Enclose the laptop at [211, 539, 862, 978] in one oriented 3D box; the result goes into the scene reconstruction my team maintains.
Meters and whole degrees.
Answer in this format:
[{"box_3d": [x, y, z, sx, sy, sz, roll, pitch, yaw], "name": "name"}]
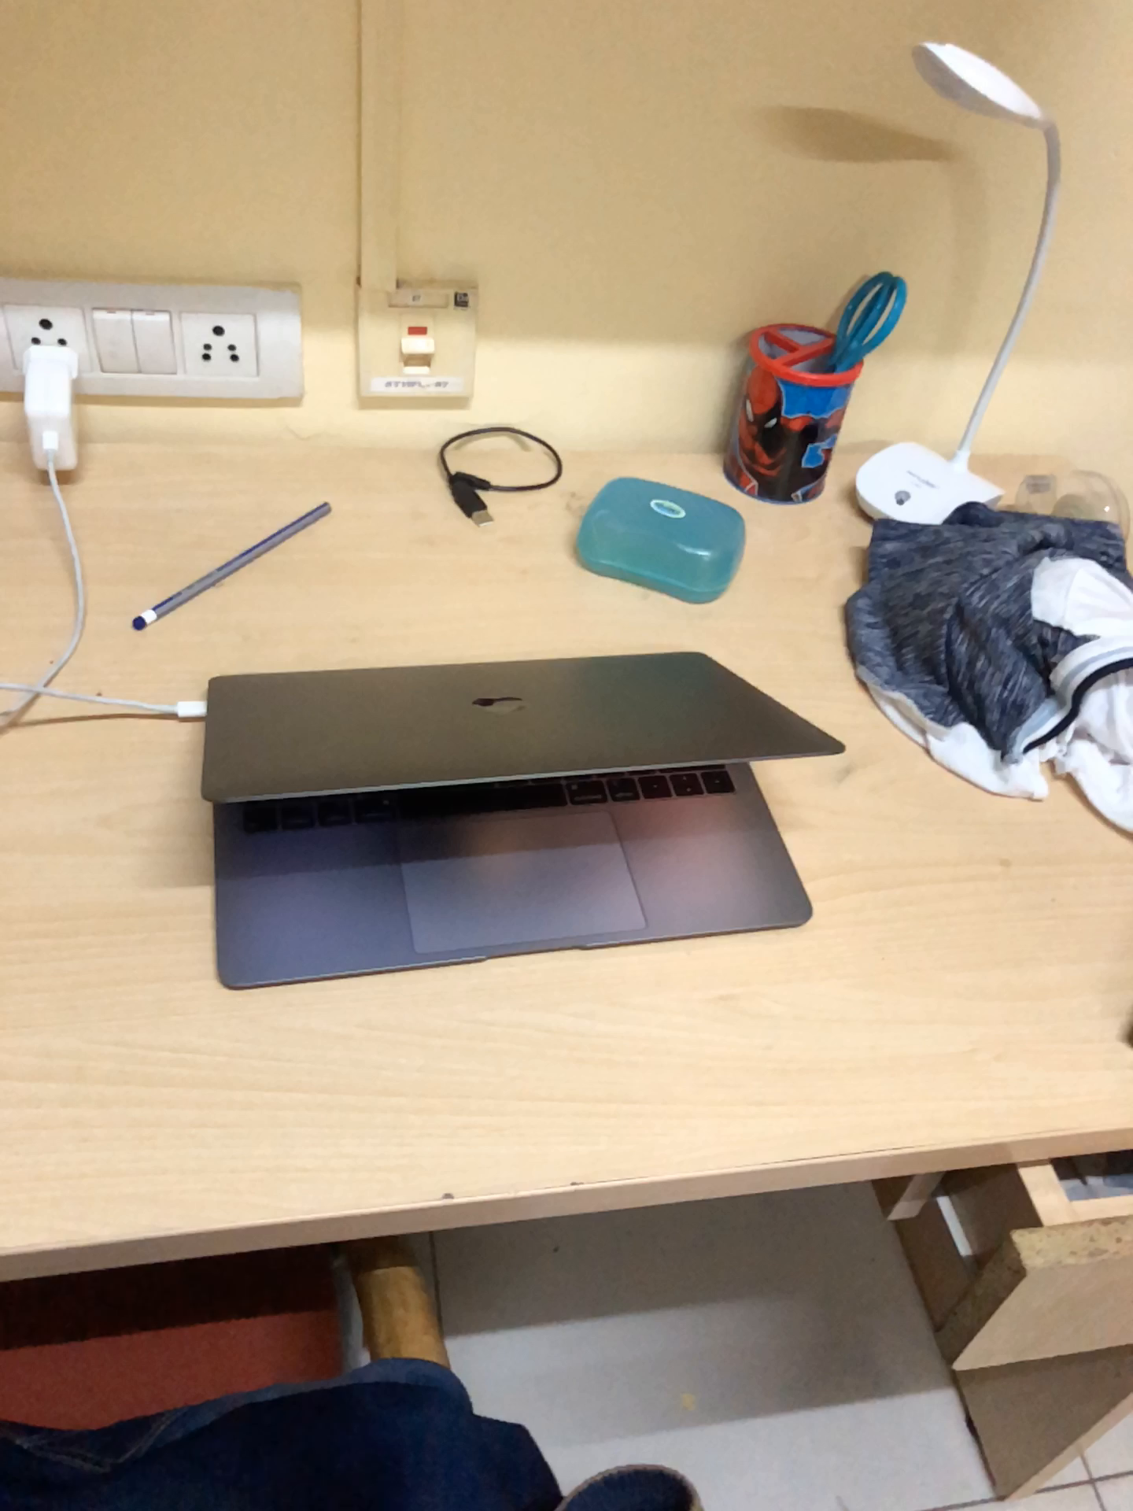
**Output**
[{"box_3d": [-0.028, -0.011, 0.651, 0.294, 0.094, 0.193, -4, 46, -14], "name": "laptop"}]
